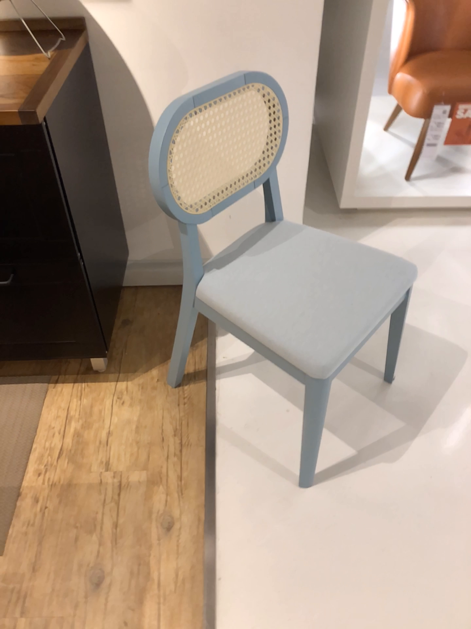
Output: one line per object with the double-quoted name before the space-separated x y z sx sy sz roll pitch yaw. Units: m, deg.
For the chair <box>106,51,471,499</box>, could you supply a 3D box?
"chair" 0.124 -0.091 1.277 0.561 0.824 0.482 30 51 28
